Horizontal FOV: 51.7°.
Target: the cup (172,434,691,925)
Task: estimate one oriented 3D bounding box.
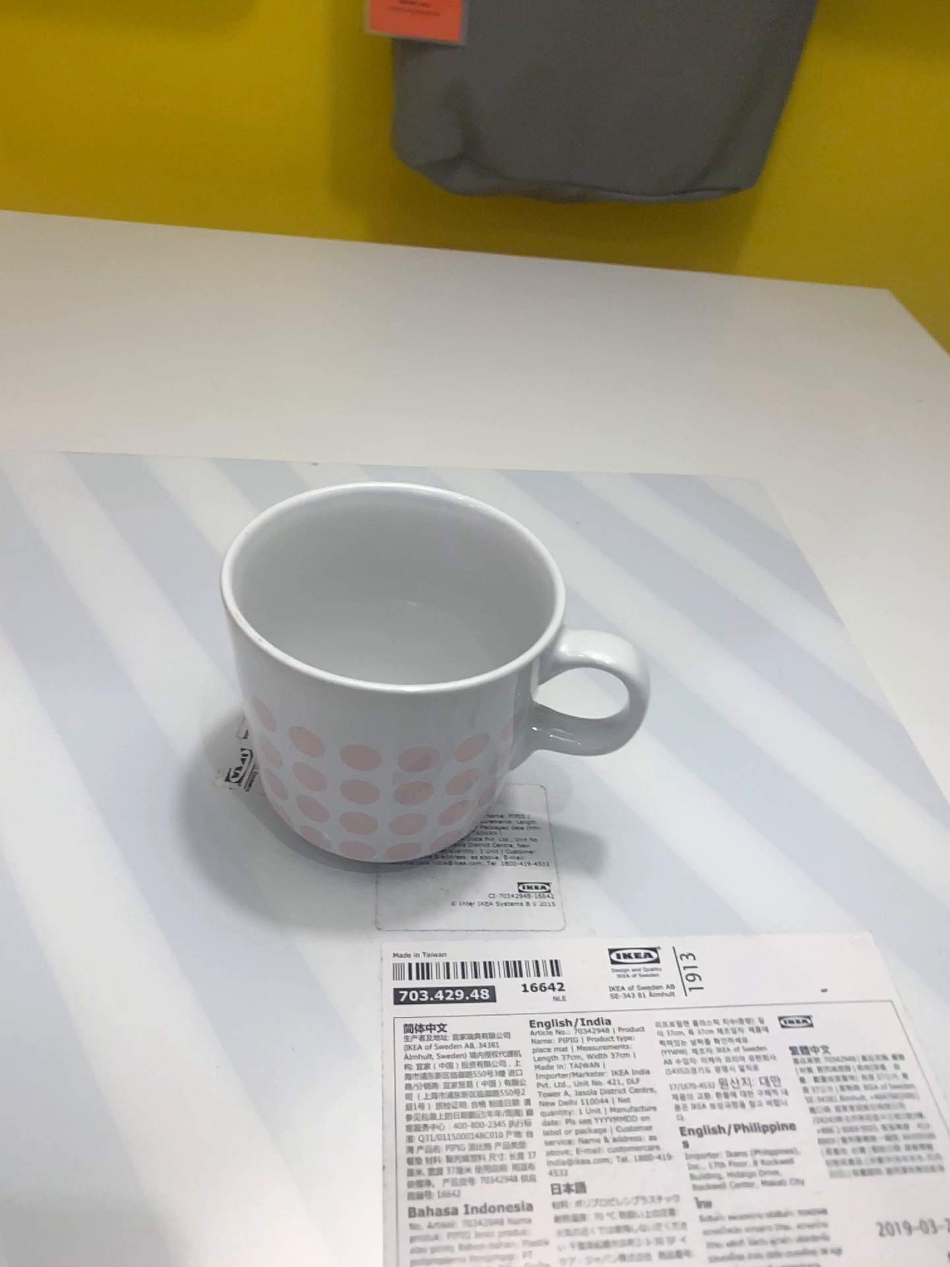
[{"bbox_3d":[-0.008,0.010,0.260,0.110,0.080,0.080,10,39,3],"label":"cup"}]
